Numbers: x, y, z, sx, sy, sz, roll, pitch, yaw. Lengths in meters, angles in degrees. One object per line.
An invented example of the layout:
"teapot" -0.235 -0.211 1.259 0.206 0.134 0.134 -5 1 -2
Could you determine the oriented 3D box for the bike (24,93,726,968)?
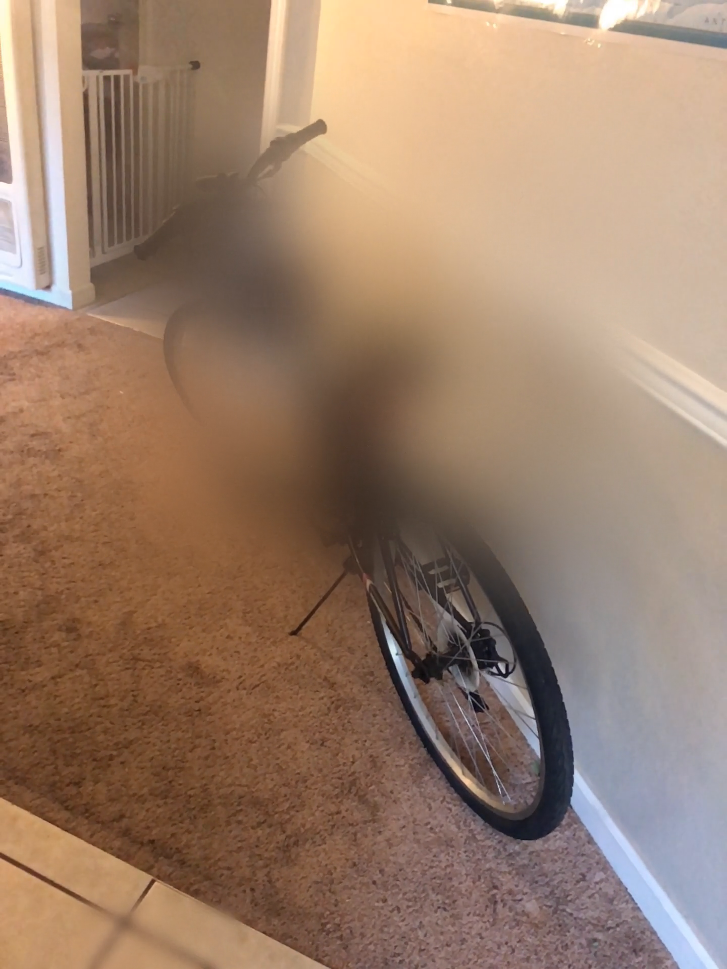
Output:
"bike" -0.165 -0.086 1.870 0.679 1.177 1.872 -12 38 -31
